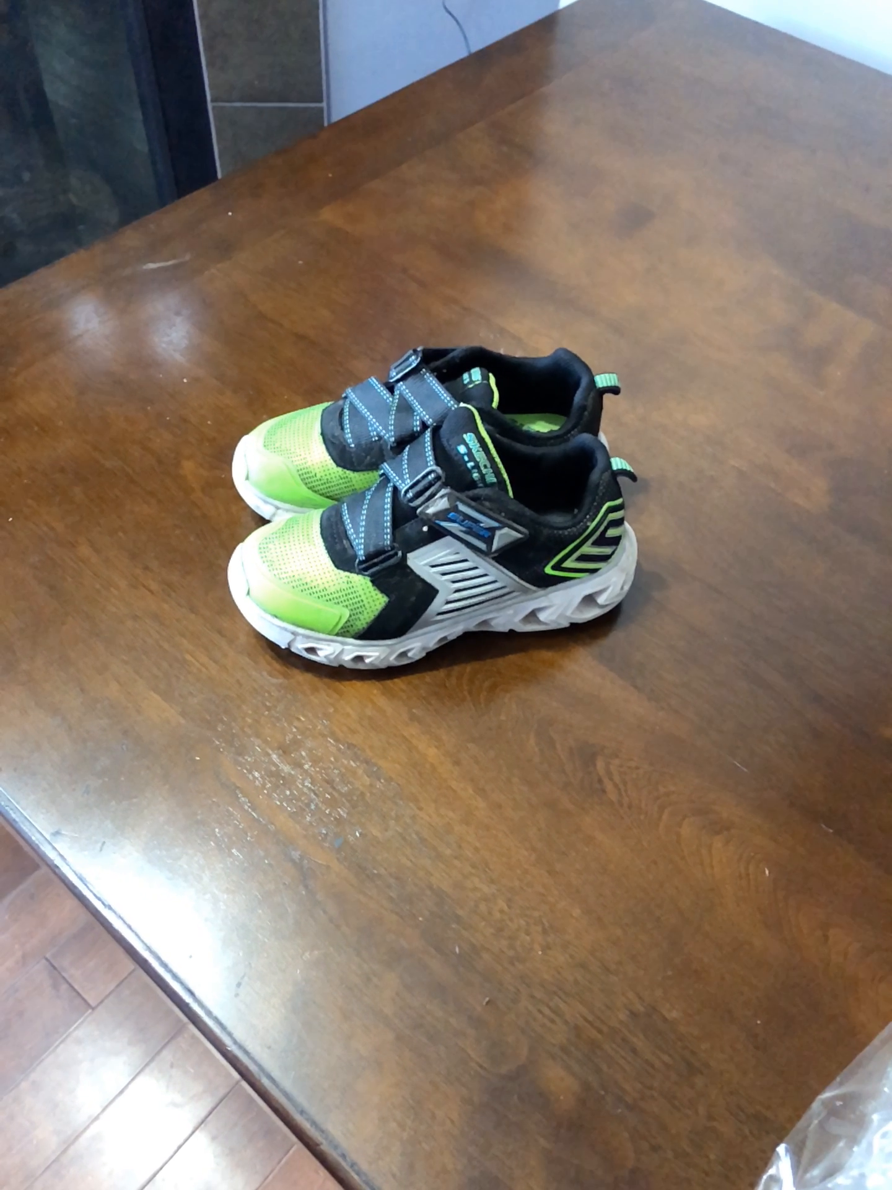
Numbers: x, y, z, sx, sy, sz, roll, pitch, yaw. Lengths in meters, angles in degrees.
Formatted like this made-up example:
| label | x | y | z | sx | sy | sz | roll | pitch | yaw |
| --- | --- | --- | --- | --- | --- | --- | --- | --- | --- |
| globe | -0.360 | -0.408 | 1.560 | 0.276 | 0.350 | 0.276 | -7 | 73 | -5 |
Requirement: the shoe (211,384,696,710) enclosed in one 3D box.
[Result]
| label | x | y | z | sx | sy | sz | roll | pitch | yaw |
| --- | --- | --- | --- | --- | --- | --- | --- | --- | --- |
| shoe | -0.002 | -0.025 | 0.499 | 0.210 | 0.100 | 0.100 | -8 | 55 | -10 |

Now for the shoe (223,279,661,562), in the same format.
| label | x | y | z | sx | sy | sz | roll | pitch | yaw |
| --- | --- | --- | --- | --- | --- | --- | --- | --- | --- |
| shoe | -0.008 | -0.095 | 0.538 | 0.210 | 0.100 | 0.100 | -4 | 55 | -7 |
